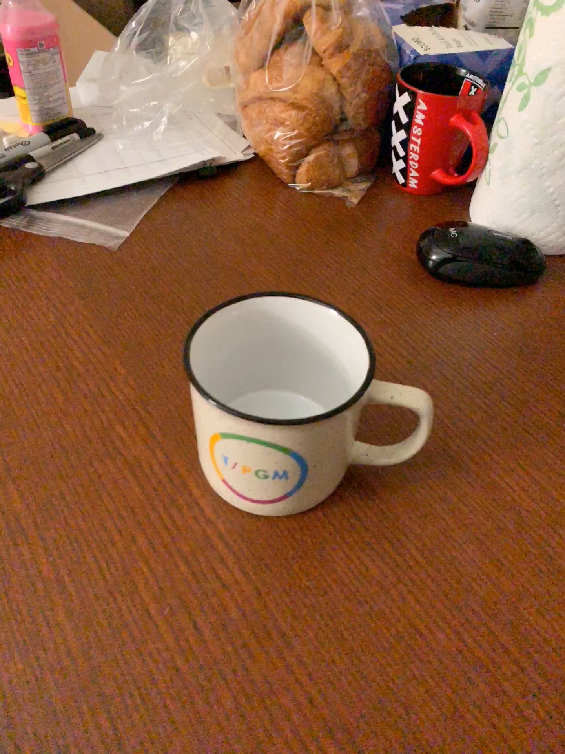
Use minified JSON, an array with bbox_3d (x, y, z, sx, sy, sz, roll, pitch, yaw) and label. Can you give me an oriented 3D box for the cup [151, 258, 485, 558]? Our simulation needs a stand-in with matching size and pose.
[{"bbox_3d":[0.022,0.015,0.325,0.150,0.099,0.101,11,46,7],"label":"cup"}]
